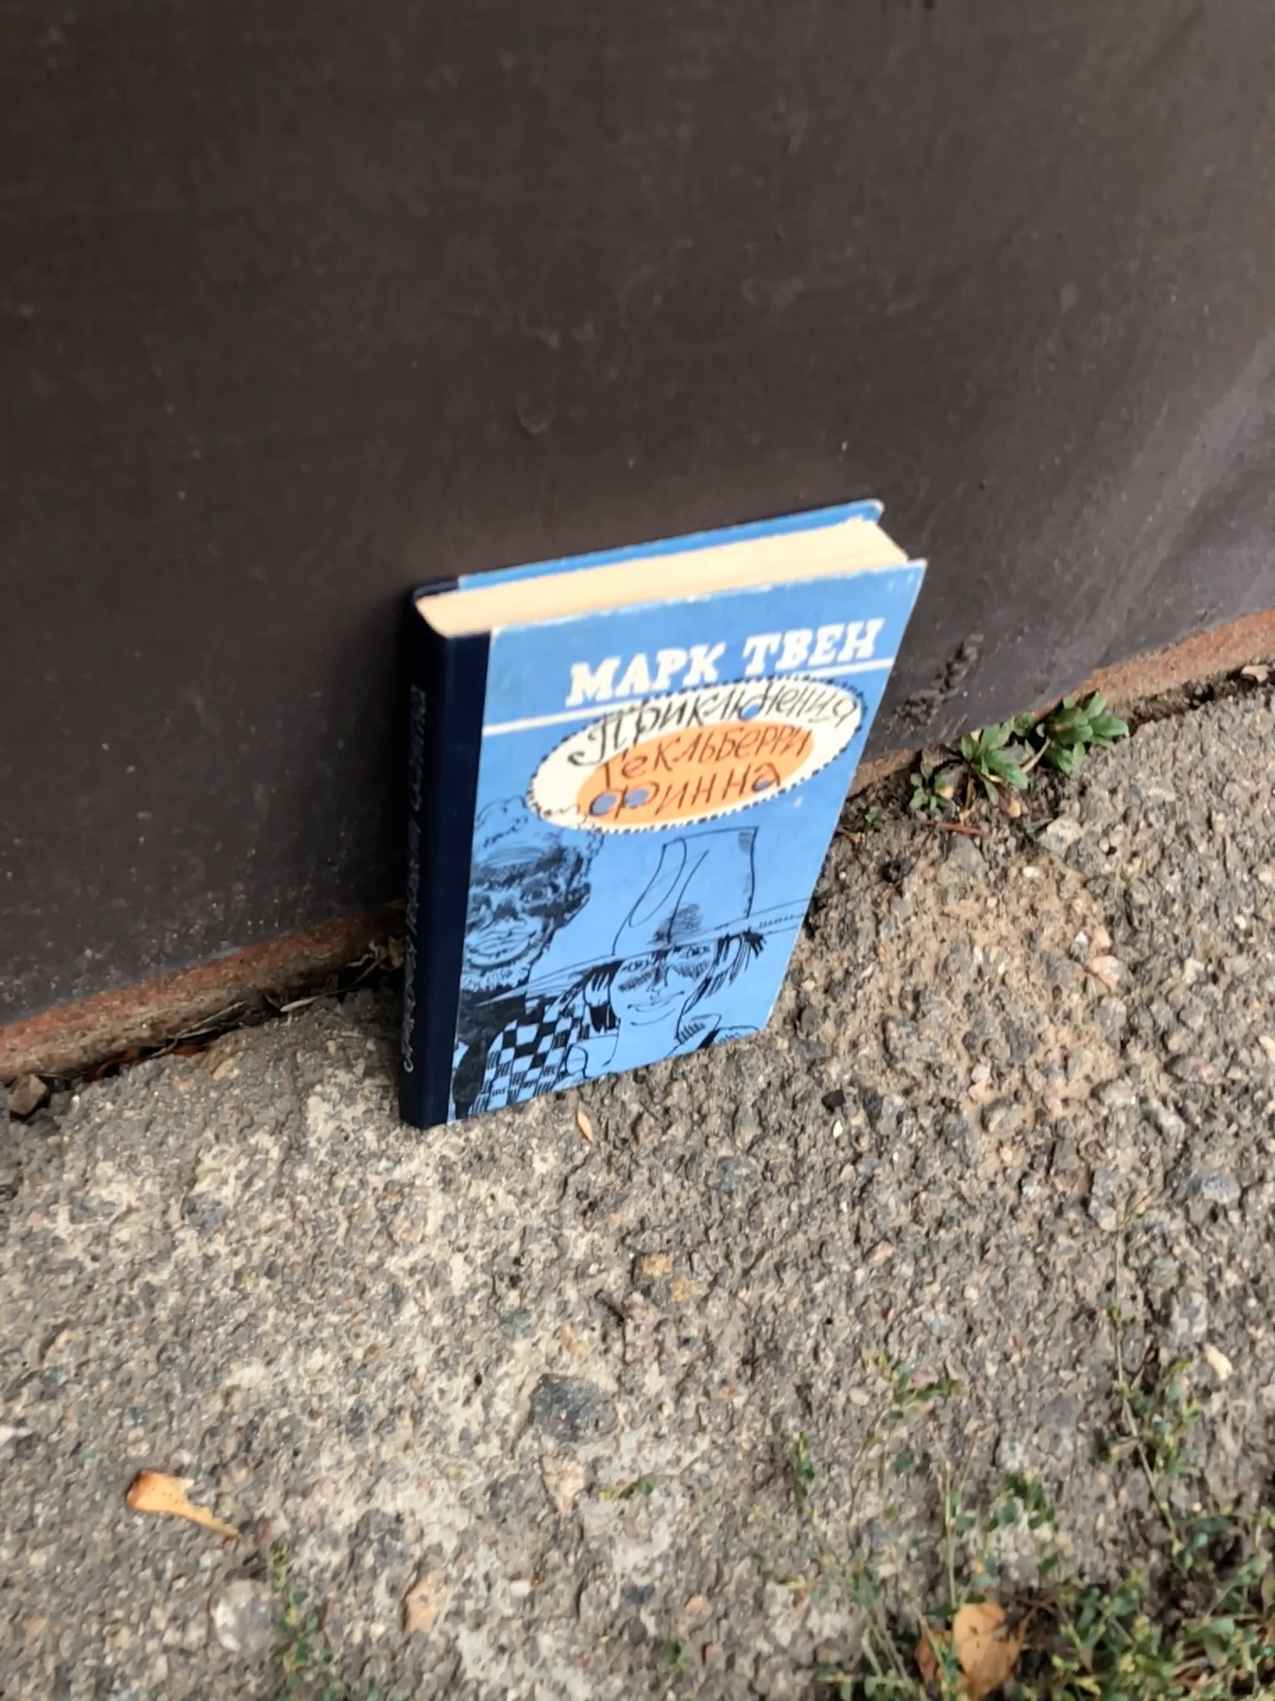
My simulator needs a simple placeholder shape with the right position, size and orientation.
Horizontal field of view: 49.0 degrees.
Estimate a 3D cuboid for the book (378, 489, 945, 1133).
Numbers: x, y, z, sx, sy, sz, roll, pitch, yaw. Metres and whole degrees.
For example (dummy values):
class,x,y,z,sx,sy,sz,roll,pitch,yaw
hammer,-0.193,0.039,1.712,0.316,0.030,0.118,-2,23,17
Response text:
class,x,y,z,sx,sy,sz,roll,pitch,yaw
book,0.000,-0.003,0.389,0.130,0.186,0.030,-13,48,-18
